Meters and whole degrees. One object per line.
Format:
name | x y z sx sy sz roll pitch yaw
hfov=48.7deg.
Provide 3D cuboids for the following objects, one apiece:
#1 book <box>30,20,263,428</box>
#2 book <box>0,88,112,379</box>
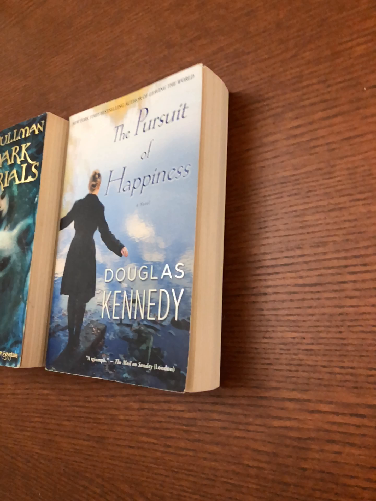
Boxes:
book | -0.036 -0.017 0.316 0.180 0.040 0.250 -5 77 36
book | -0.169 -0.012 0.422 0.180 0.050 0.250 -5 77 36
